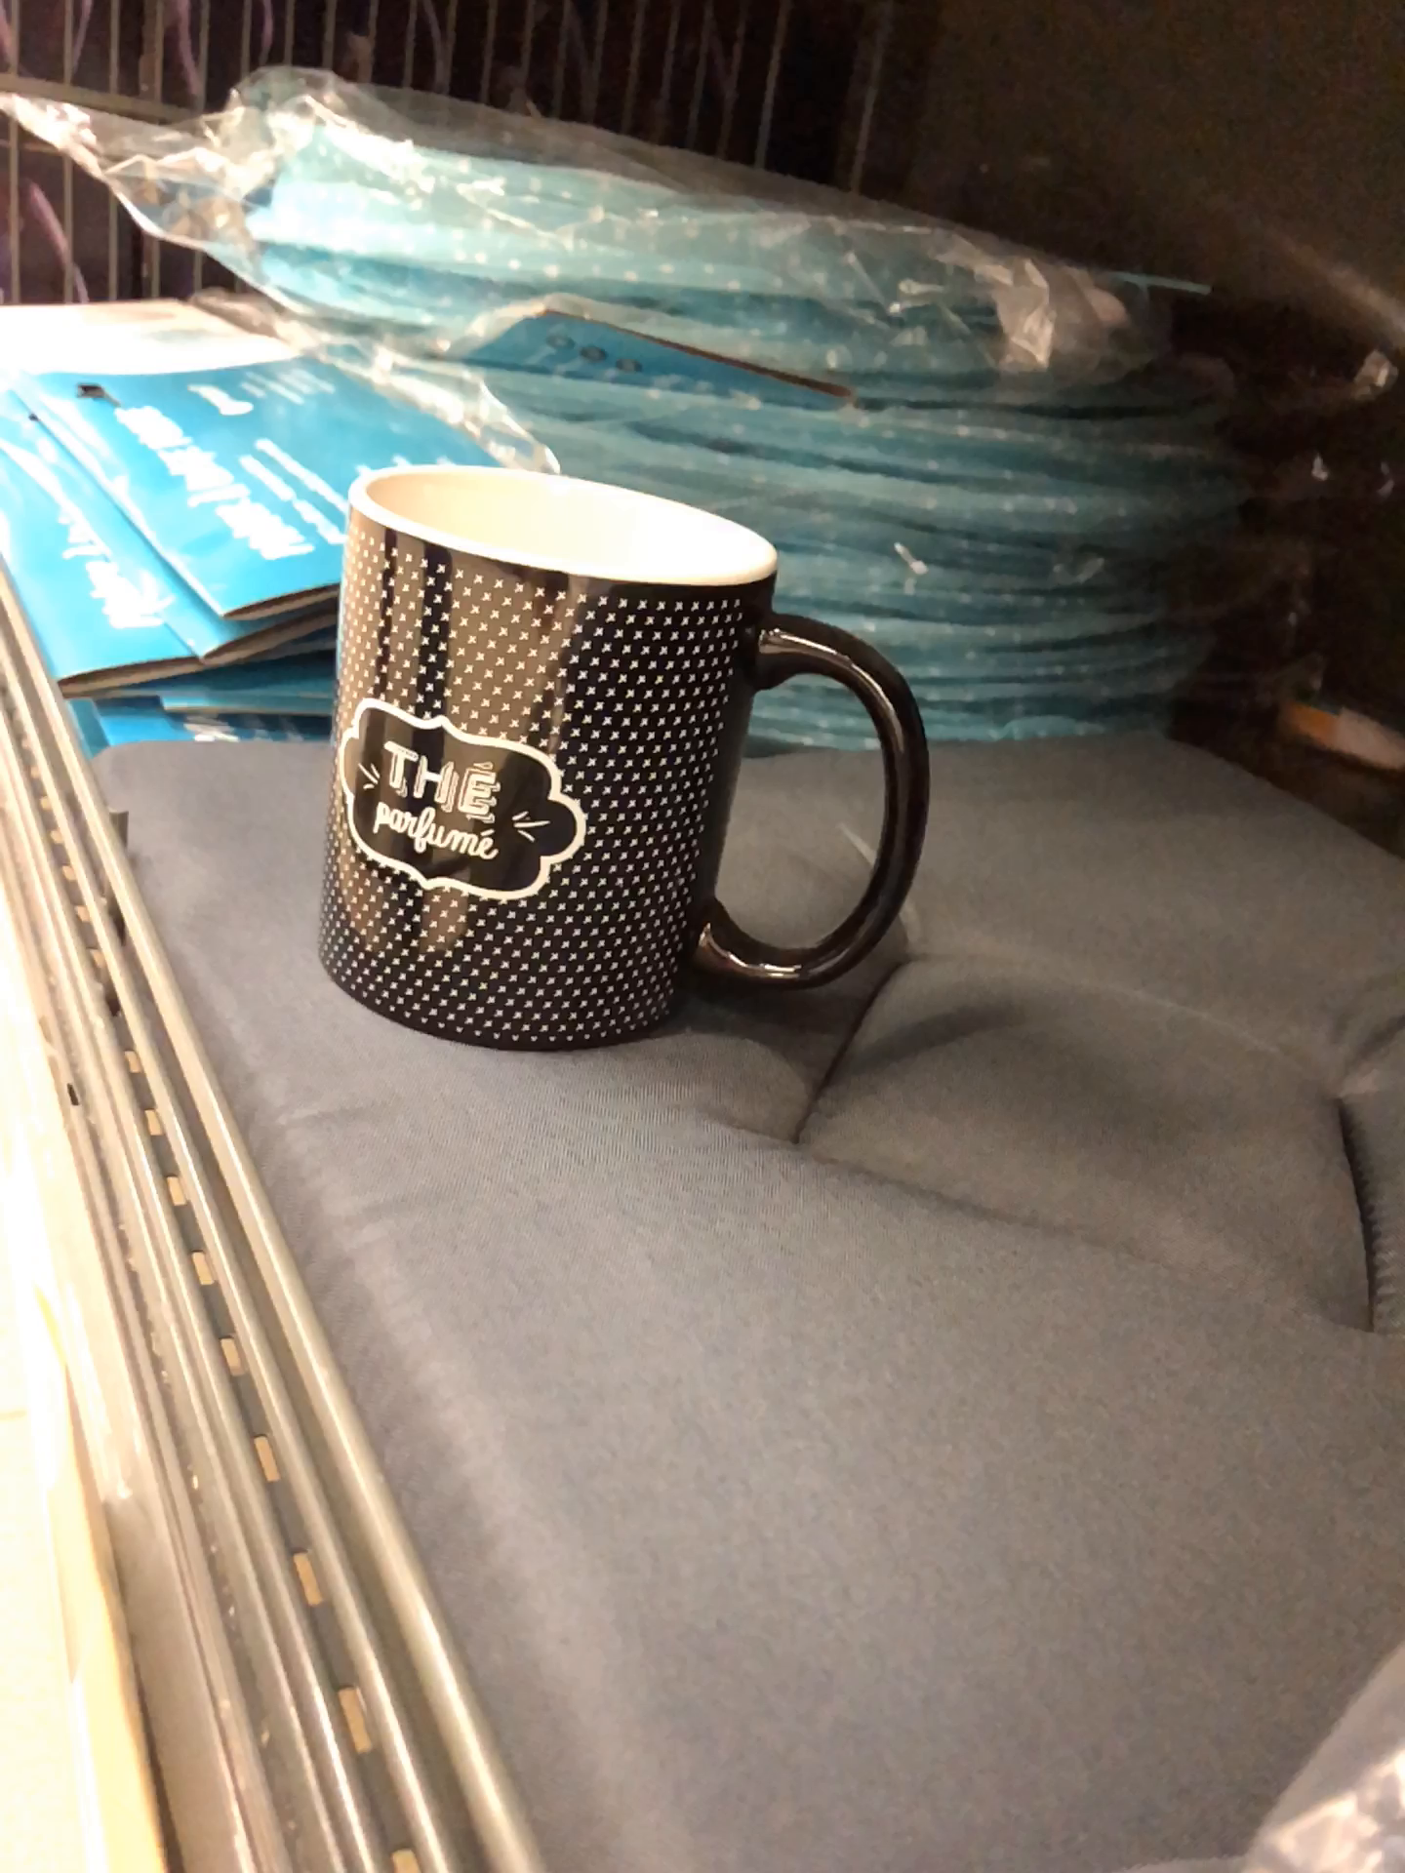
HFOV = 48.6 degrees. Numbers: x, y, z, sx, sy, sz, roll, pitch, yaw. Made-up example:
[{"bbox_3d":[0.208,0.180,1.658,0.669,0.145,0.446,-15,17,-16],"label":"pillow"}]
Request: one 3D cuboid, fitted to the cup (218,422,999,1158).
[{"bbox_3d":[-0.016,-0.037,0.312,0.120,0.099,0.091,16,24,10],"label":"cup"}]
